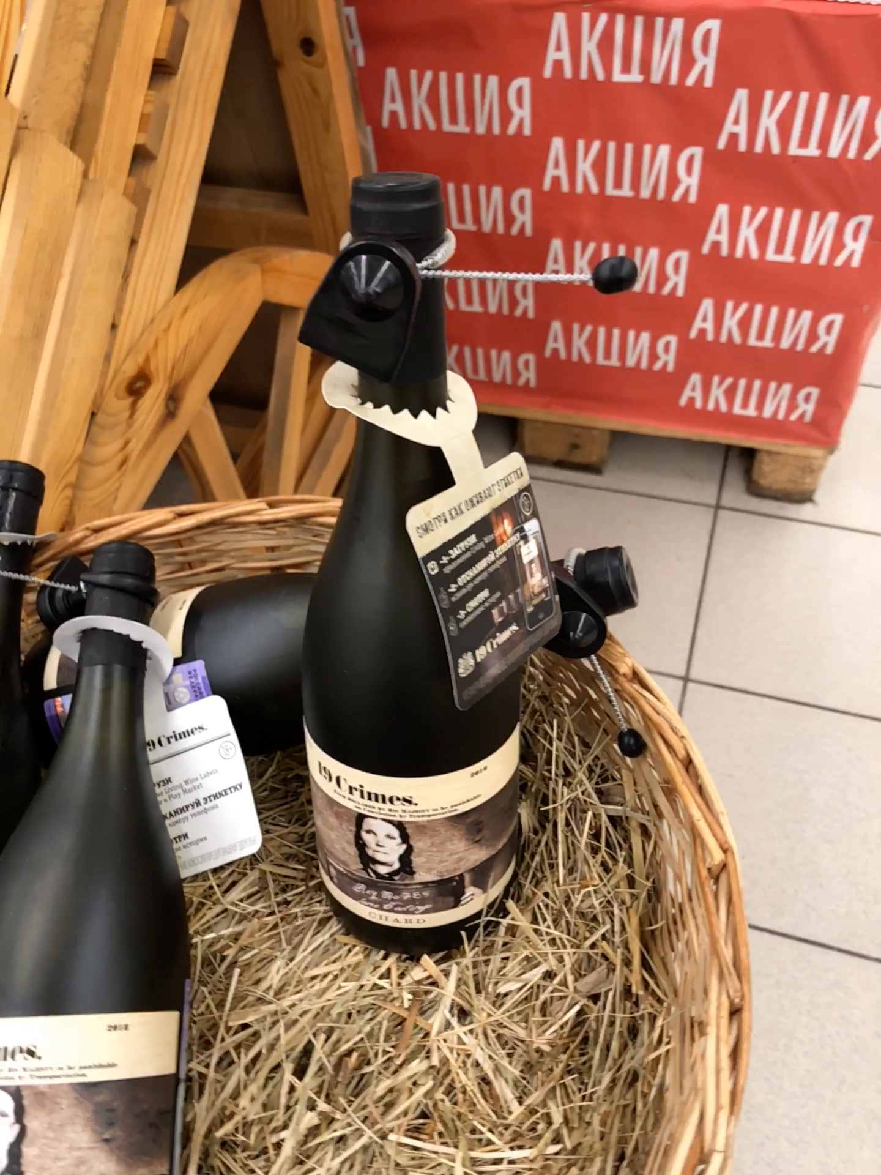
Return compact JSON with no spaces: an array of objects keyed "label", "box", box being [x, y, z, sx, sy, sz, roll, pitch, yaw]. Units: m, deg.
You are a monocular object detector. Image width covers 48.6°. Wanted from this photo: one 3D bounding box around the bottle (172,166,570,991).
[{"label":"bottle","box":[-0.010,0.014,0.347,0.090,0.289,0.080,6,35,11]}]
